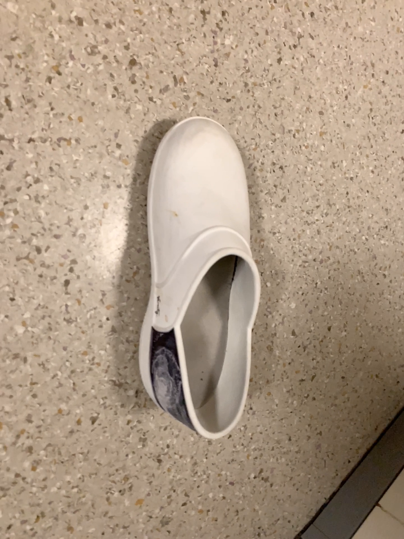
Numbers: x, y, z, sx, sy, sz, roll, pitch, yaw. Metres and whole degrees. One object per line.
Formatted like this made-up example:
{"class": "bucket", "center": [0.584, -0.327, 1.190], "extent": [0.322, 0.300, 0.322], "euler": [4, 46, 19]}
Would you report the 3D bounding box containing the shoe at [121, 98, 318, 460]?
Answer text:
{"class": "shoe", "center": [0.010, 0.008, 0.357], "extent": [0.107, 0.101, 0.254], "euler": [4, 93, -31]}
